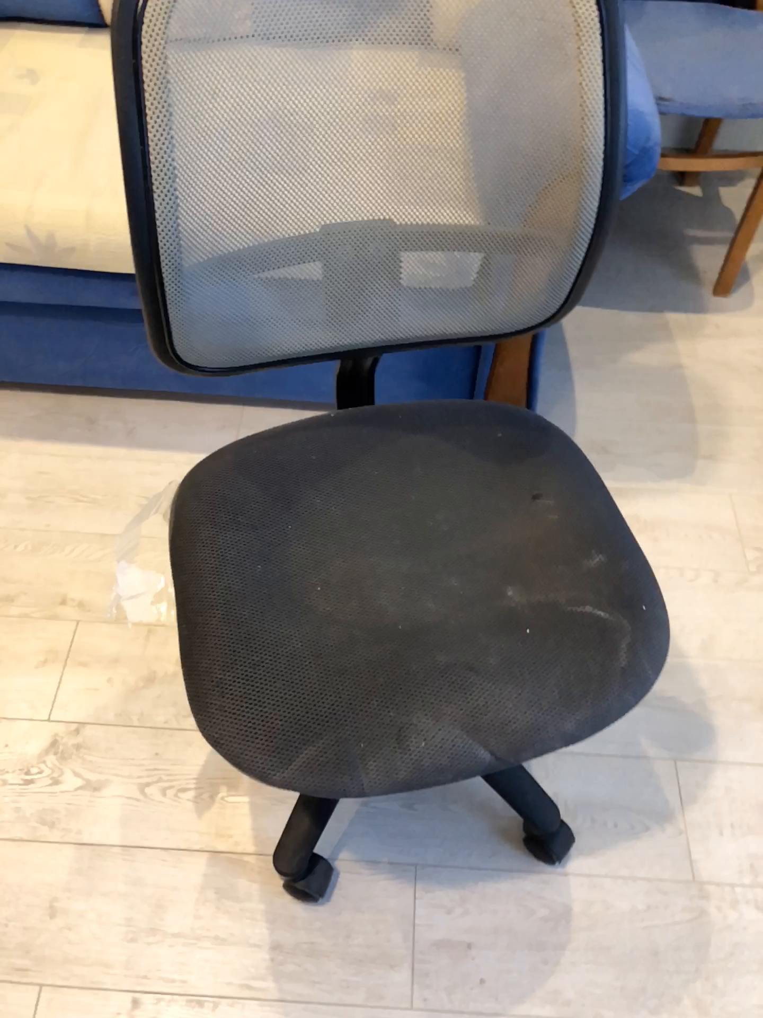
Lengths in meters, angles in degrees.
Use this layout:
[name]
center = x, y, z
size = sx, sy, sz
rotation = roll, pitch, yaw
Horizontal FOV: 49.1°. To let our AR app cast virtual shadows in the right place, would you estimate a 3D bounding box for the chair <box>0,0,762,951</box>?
[chair]
center = 0.000, -0.015, 0.739
size = 0.660, 0.736, 0.513
rotation = -7, 54, -7
